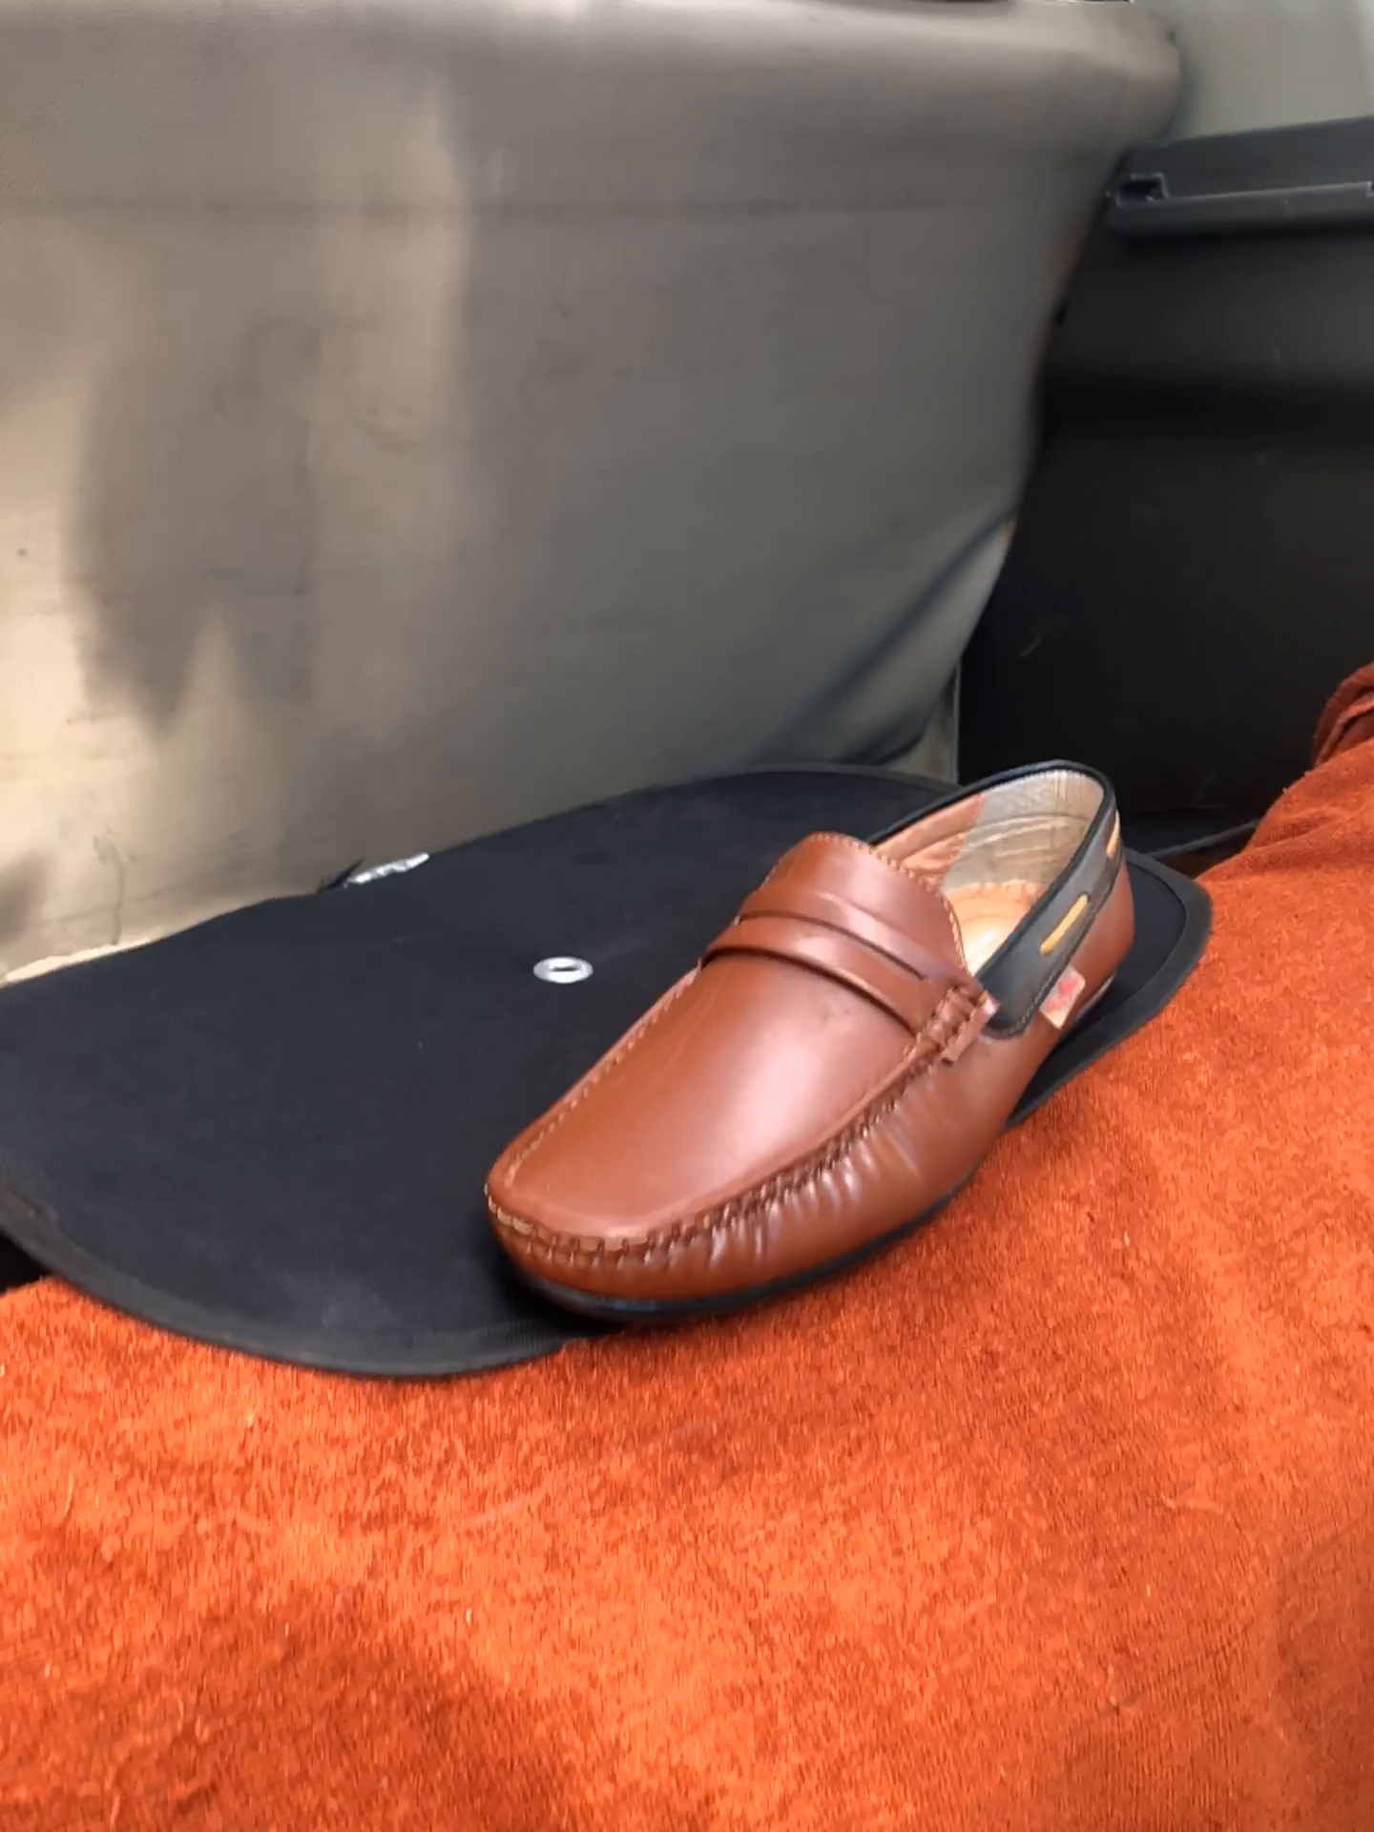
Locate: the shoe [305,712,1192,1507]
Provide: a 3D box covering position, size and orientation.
[{"bbox_3d":[0.040,0.026,0.439,0.110,0.070,0.282,15,33,33],"label":"shoe"}]
